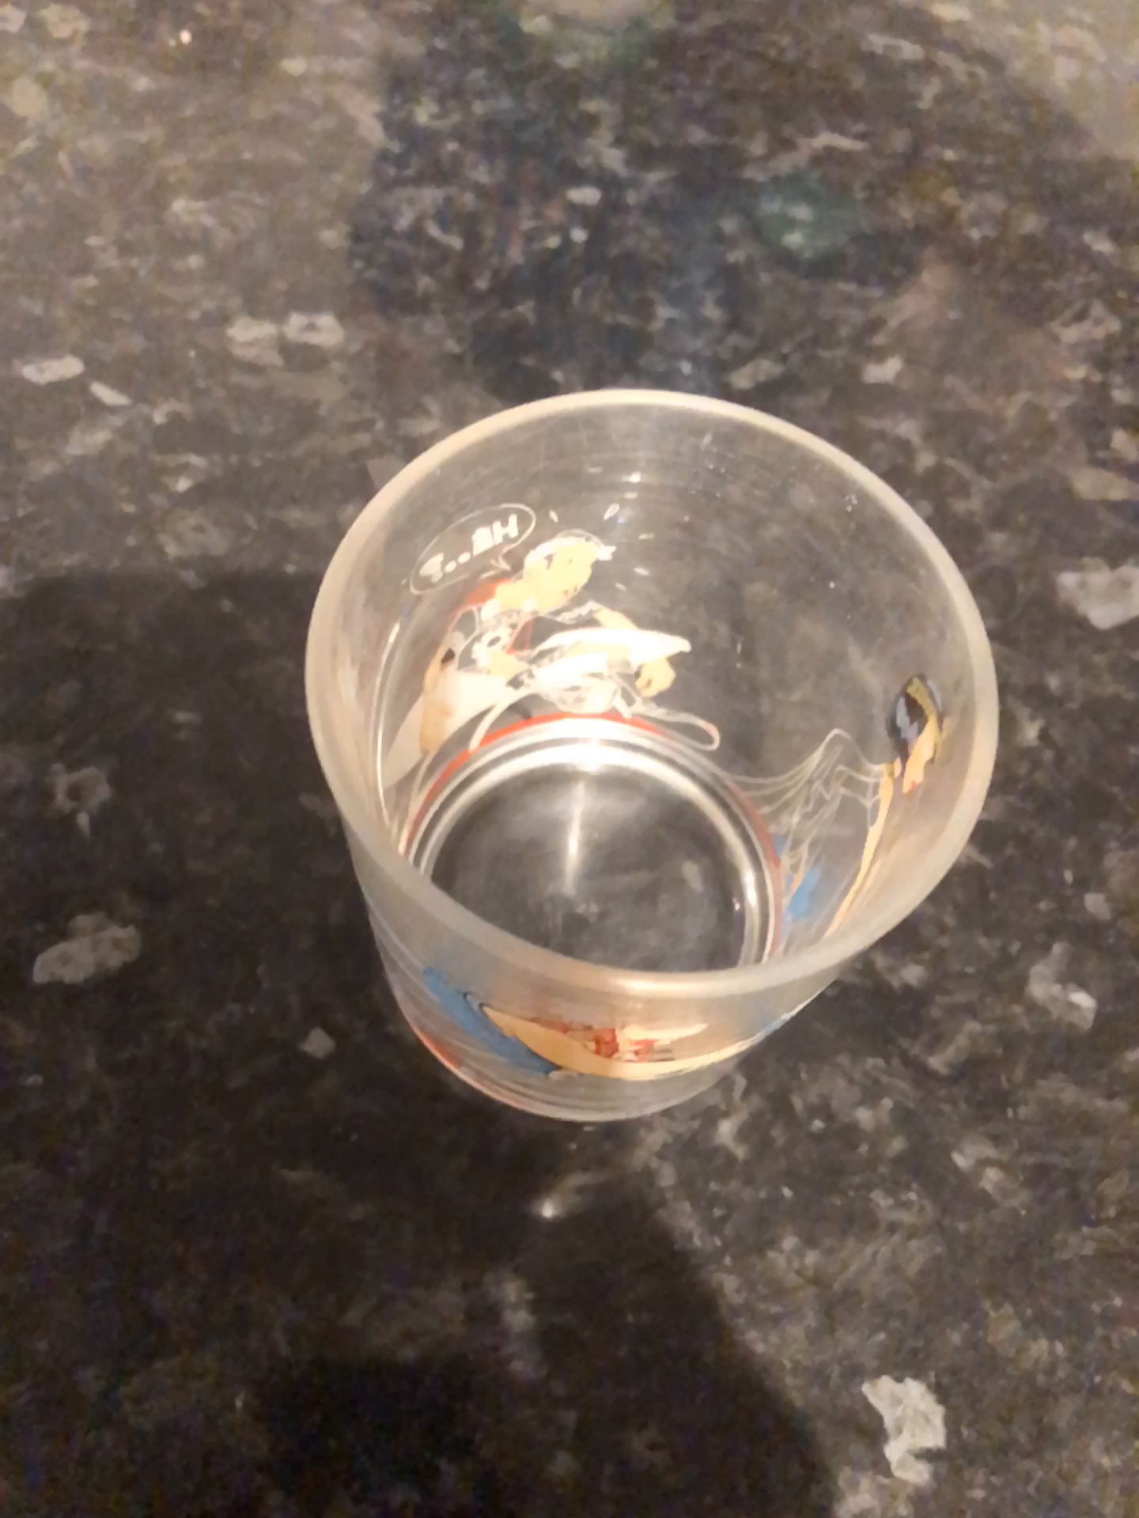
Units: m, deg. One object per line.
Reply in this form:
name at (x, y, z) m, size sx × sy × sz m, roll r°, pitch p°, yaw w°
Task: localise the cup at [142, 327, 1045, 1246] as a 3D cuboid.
cup at (0.005, 0.010, 0.165) m, size 0.080 × 0.080 × 0.080 m, roll 2°, pitch 64°, yaw -4°
